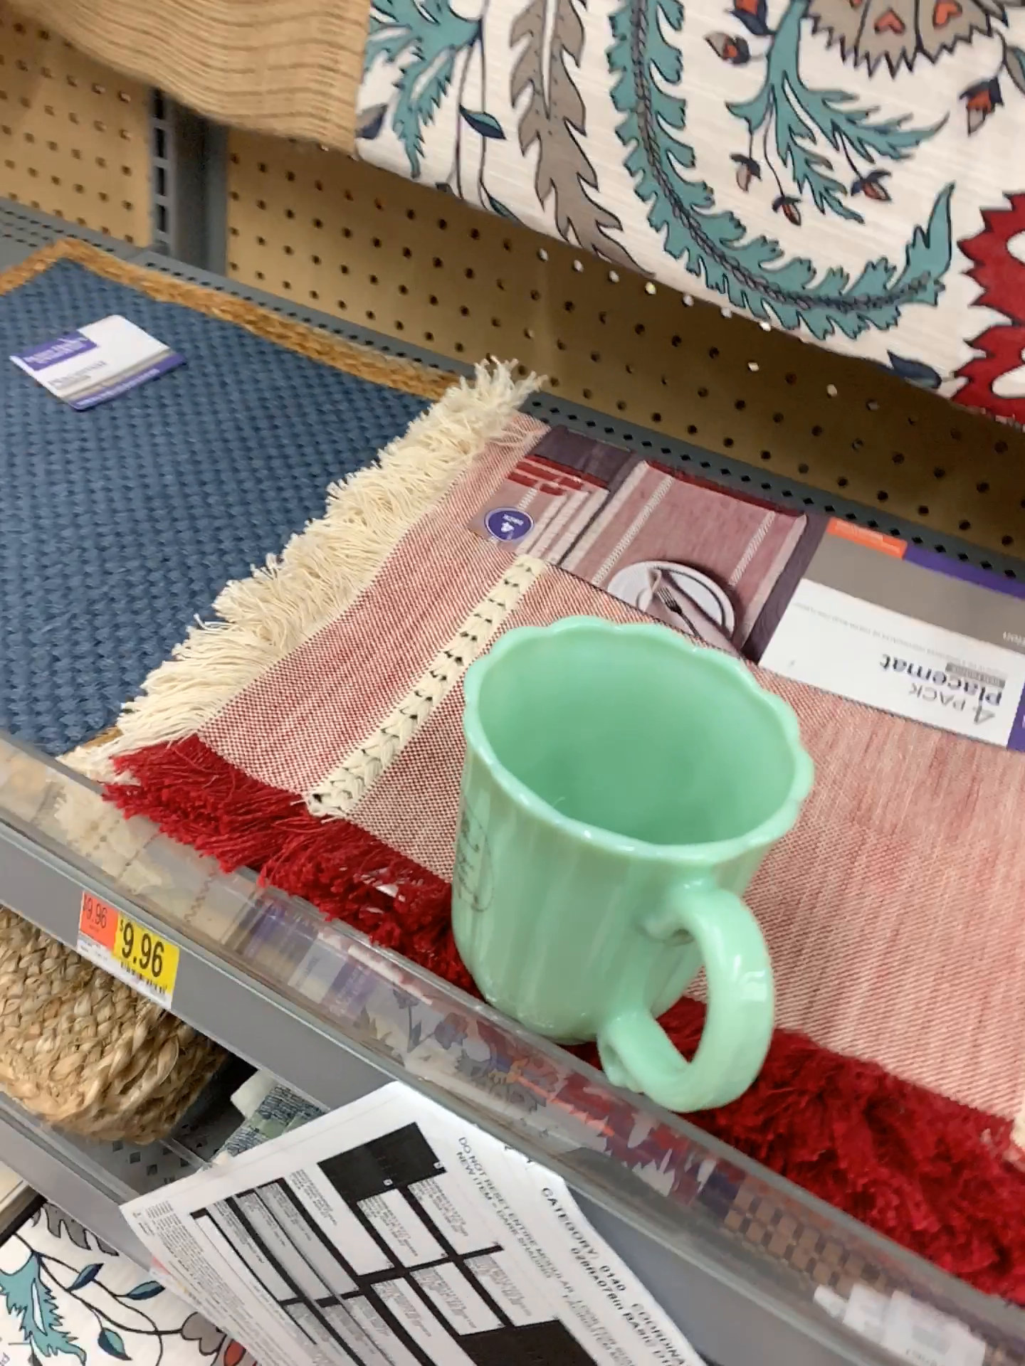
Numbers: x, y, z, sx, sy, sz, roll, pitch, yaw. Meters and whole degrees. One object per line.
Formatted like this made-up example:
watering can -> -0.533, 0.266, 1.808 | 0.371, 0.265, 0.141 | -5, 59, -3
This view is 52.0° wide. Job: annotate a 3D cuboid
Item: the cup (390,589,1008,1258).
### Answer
cup -> 0.031, 0.050, 0.271 | 0.090, 0.090, 0.131 | -3, 38, -20
